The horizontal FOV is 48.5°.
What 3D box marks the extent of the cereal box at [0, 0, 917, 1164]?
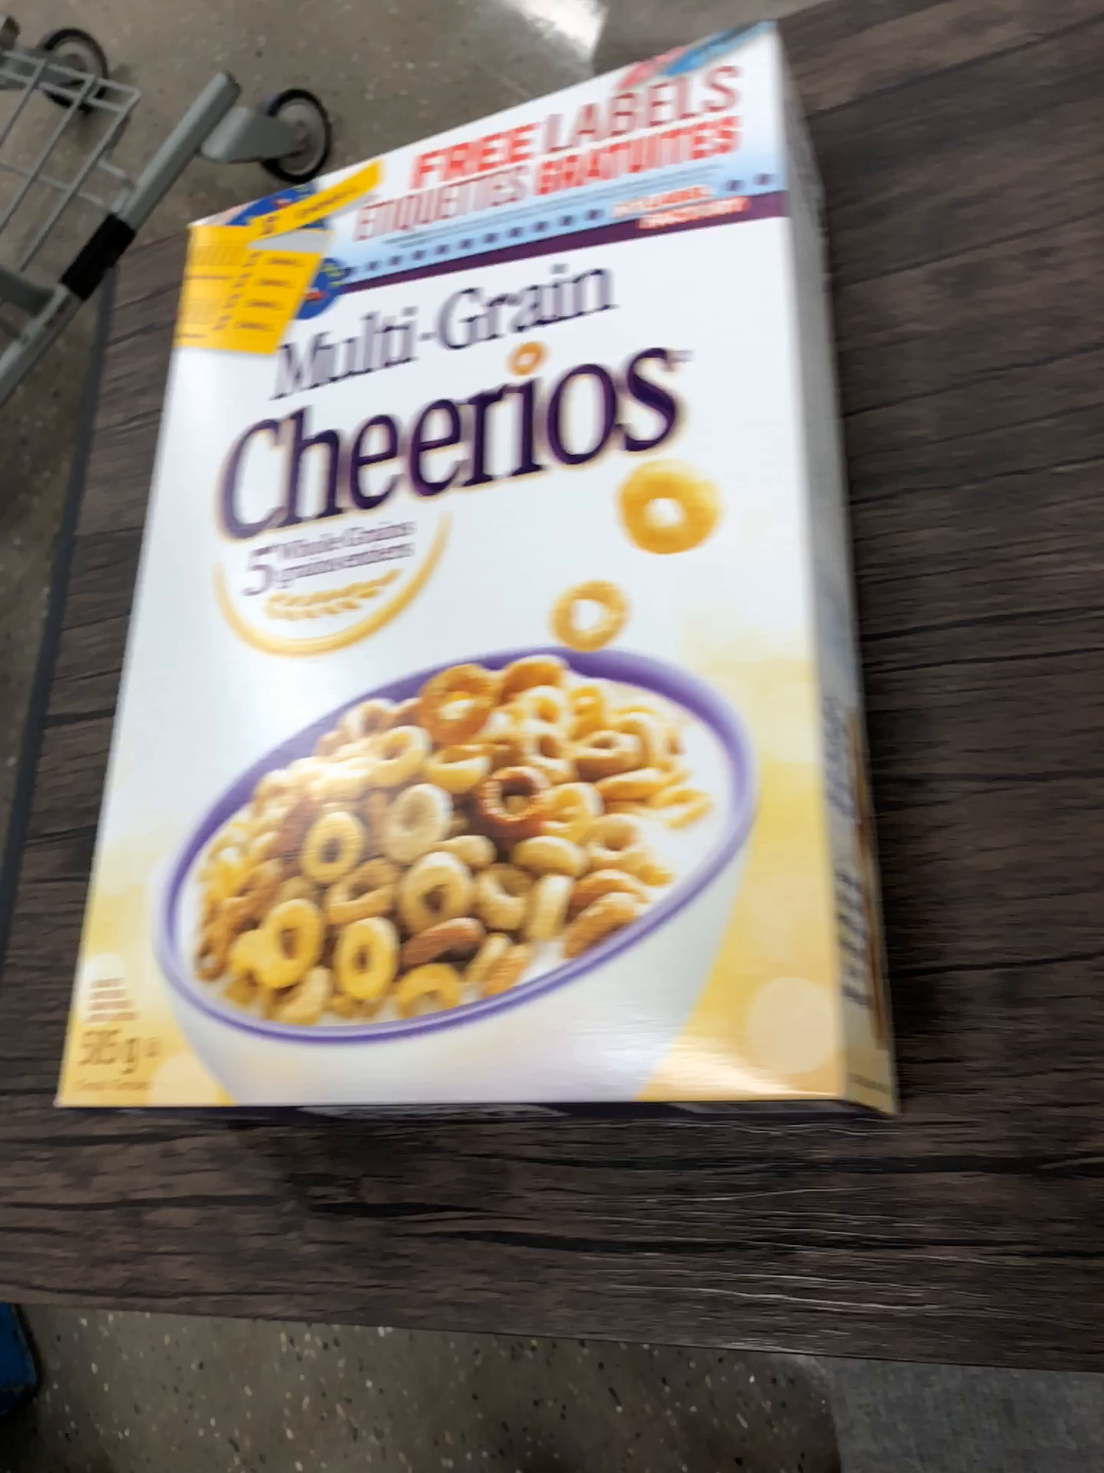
[{"bbox_3d":[-0.028,-0.046,0.399,0.251,0.070,0.340,-7,66,23],"label":"cereal box"}]
